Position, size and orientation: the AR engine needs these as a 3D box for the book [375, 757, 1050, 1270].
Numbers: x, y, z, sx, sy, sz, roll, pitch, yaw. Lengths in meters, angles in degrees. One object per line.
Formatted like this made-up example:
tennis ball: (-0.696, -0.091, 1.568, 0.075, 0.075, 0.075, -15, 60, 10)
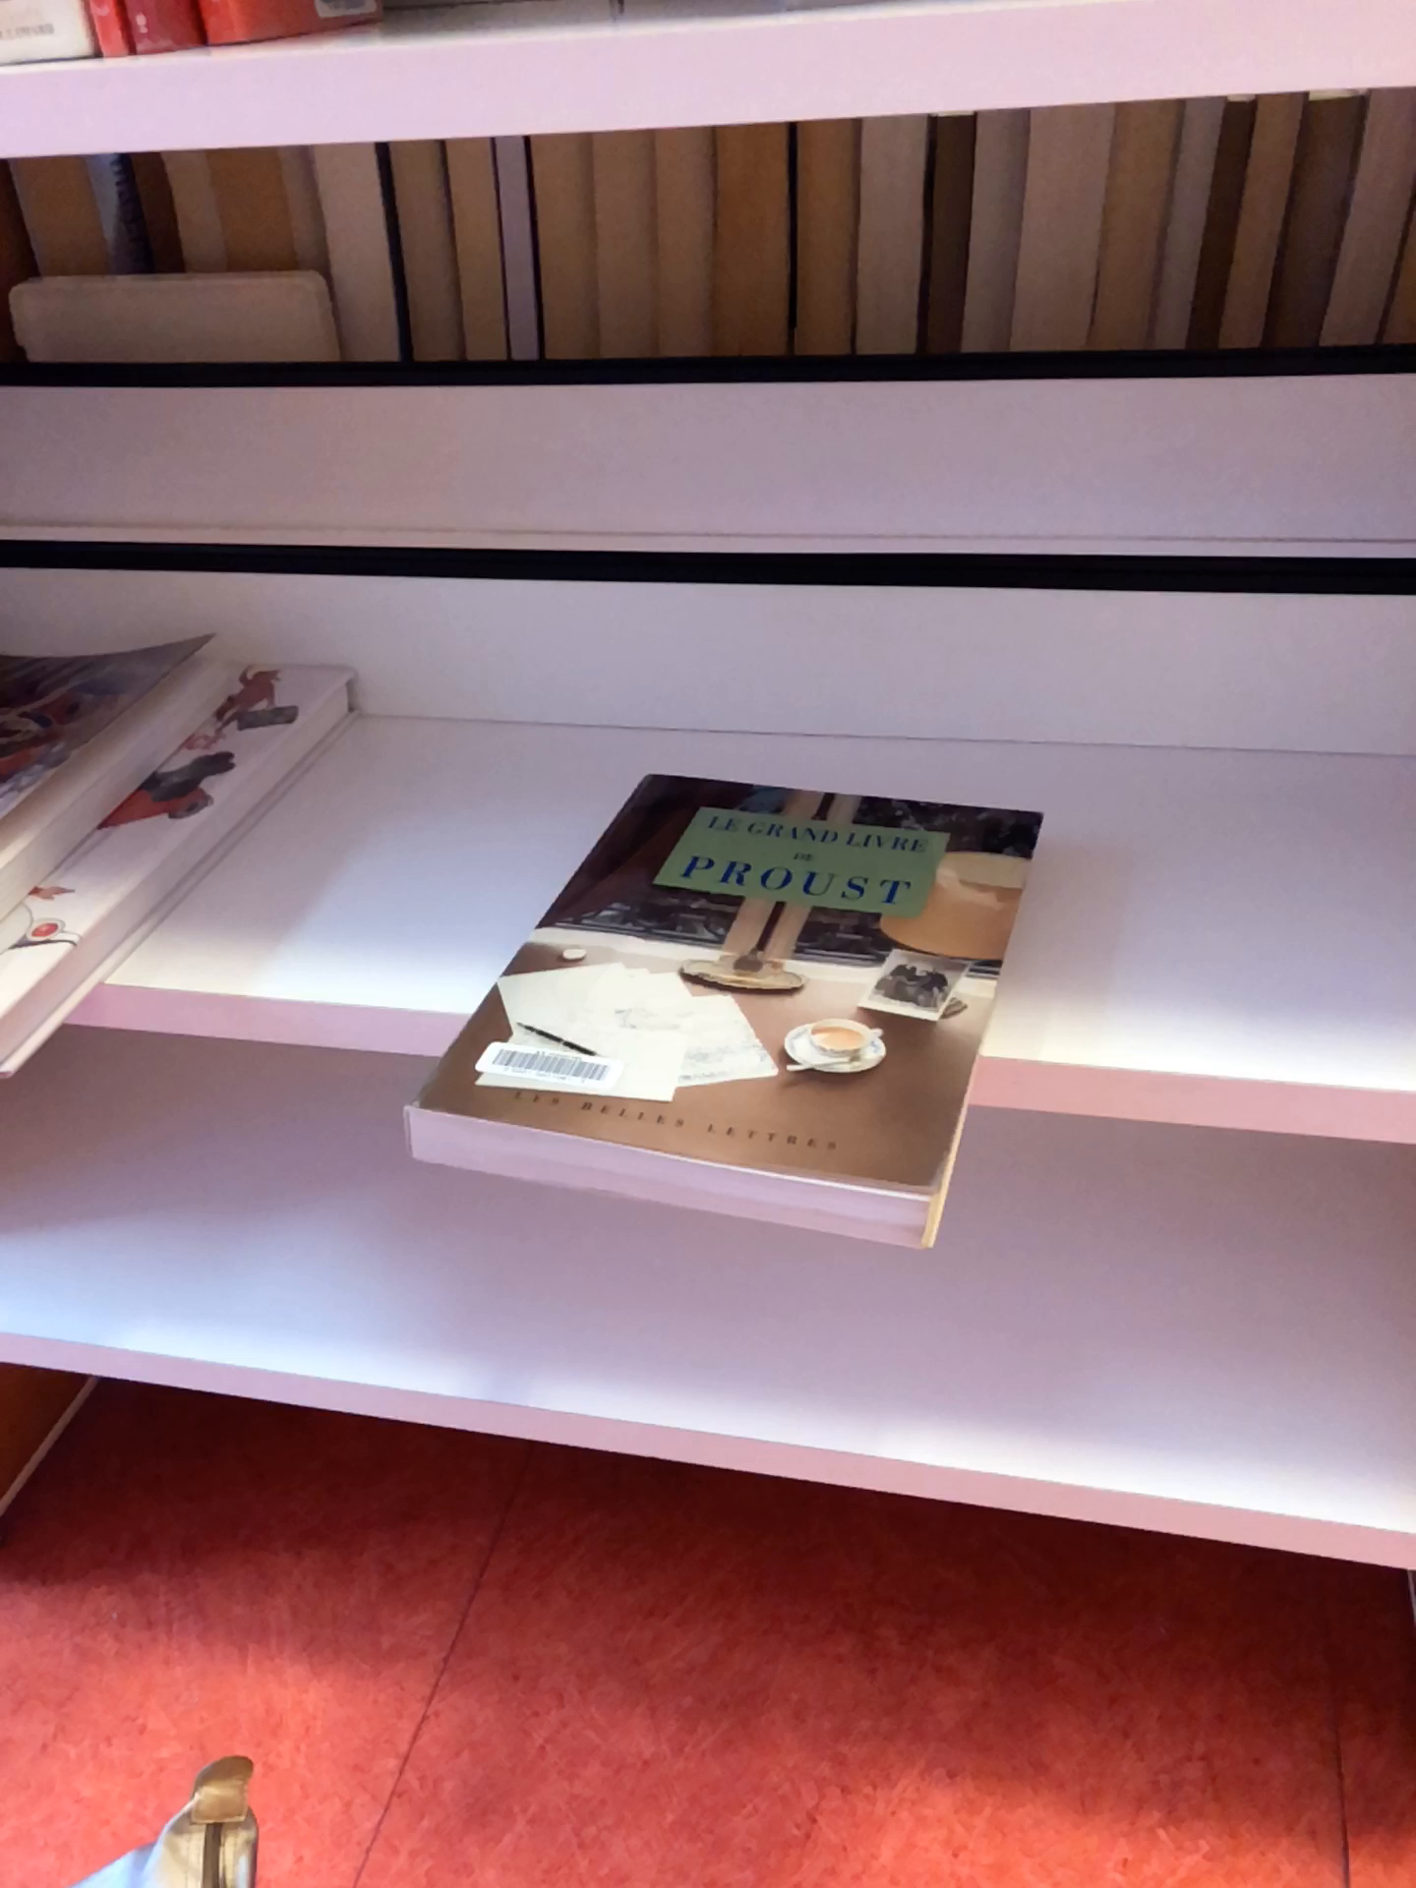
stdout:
book: (0.018, 0.007, 0.578, 0.180, 0.030, 0.246, 7, 36, 18)
